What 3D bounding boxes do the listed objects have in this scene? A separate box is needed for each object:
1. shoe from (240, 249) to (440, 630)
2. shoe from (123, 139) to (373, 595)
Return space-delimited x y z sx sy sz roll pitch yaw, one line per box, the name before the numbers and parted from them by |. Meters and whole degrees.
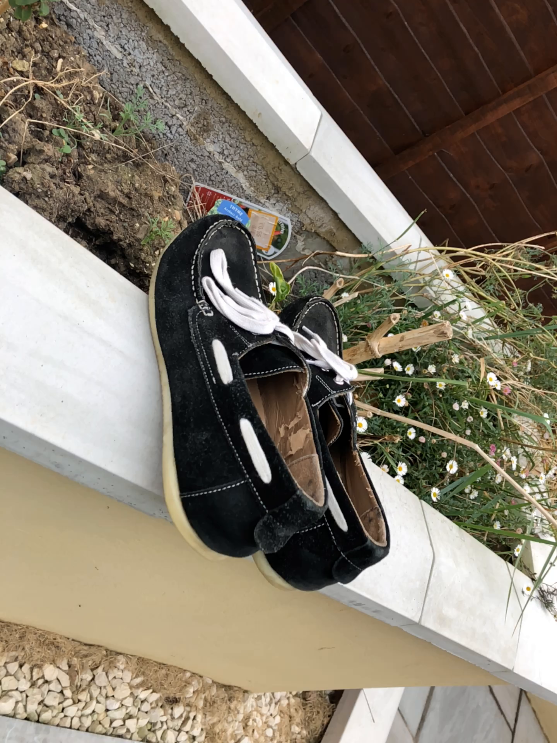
shoe | 0.046 0.041 0.525 0.110 0.089 0.301 42 32 -34
shoe | -0.030 -0.015 0.453 0.120 0.089 0.311 33 38 -41
